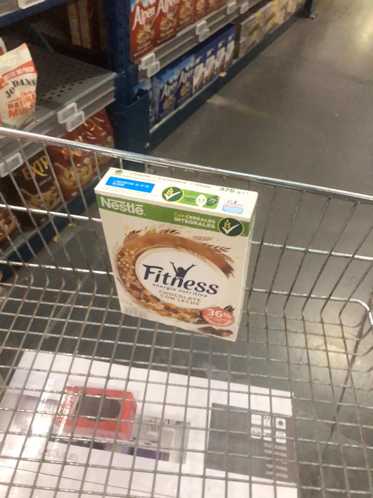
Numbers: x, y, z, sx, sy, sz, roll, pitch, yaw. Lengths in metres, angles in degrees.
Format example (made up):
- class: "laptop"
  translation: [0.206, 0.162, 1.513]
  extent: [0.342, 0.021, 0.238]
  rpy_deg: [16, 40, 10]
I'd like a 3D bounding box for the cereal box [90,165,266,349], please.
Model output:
- class: "cereal box"
  translation: [-0.010, 0.023, 0.585]
  extent: [0.200, 0.259, 0.060]
  rpy_deg: [12, 47, 12]
